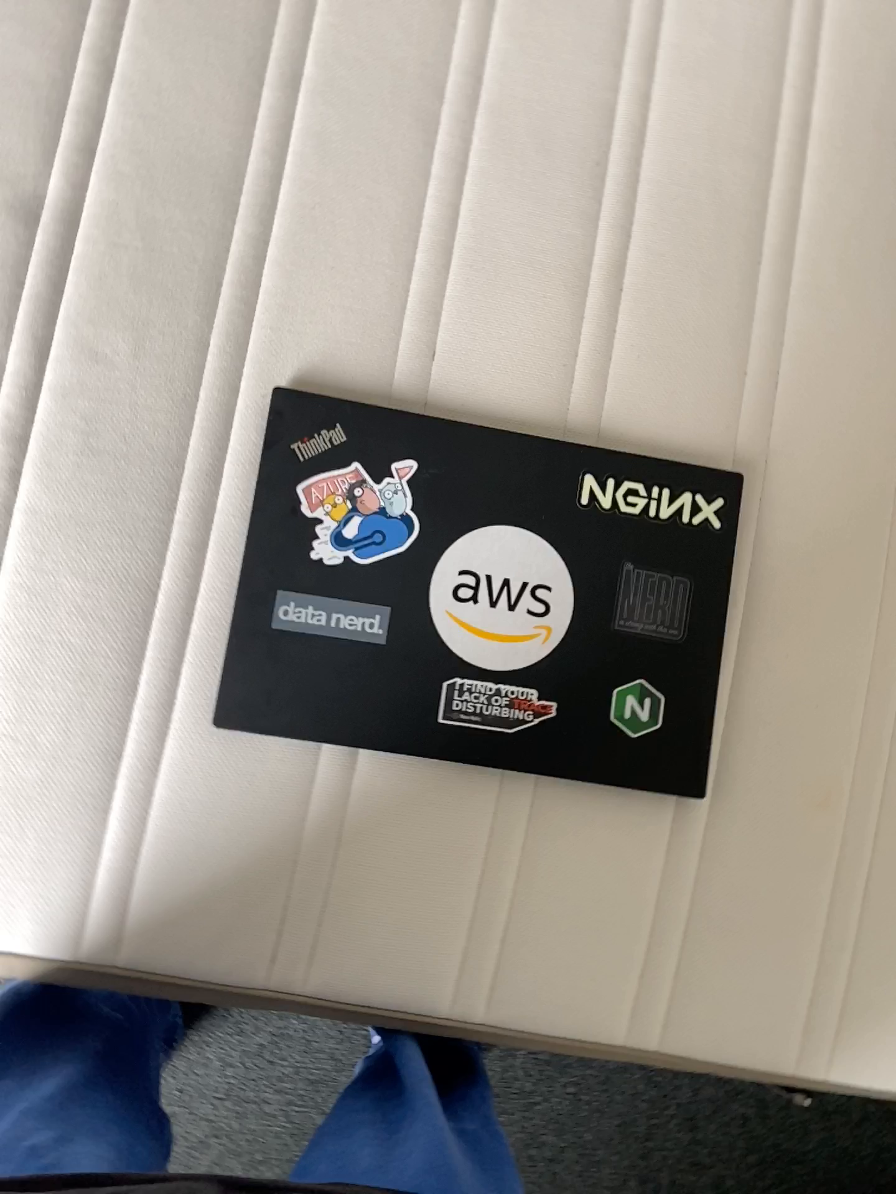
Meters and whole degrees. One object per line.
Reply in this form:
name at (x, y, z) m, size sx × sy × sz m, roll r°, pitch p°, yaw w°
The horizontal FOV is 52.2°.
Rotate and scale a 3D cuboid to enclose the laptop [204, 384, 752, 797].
laptop at (0.028, -0.004, 0.599) m, size 0.322 × 0.014 × 0.224 m, roll 10°, pitch 81°, yaw -5°
